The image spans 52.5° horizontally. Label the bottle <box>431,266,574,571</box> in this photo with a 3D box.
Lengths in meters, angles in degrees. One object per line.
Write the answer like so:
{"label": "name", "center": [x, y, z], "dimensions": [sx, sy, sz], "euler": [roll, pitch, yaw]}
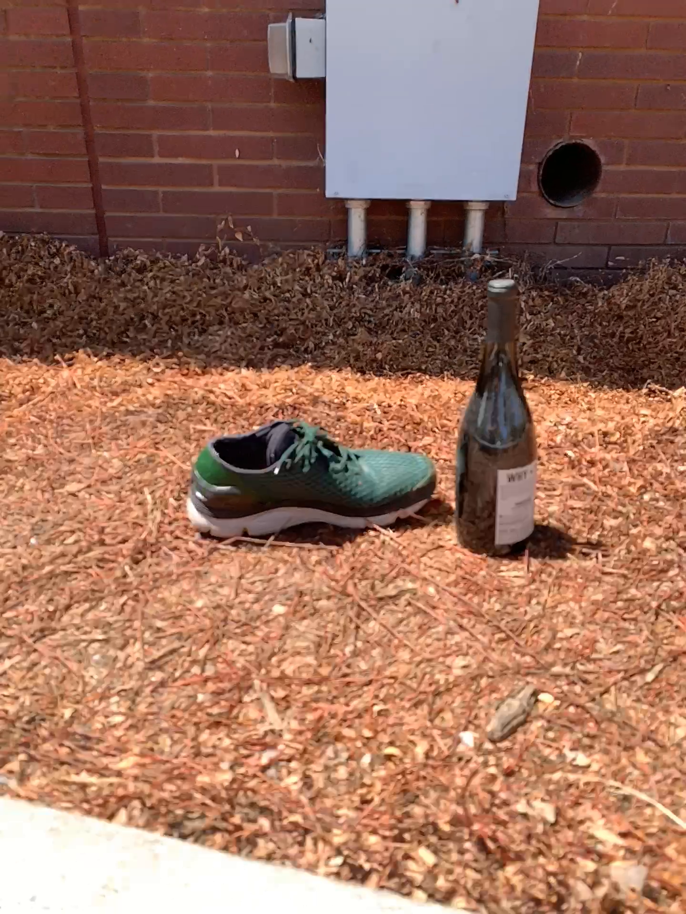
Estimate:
{"label": "bottle", "center": [0.156, -0.041, 0.704], "dimensions": [0.090, 0.279, 0.100], "euler": [17, 30, 39]}
